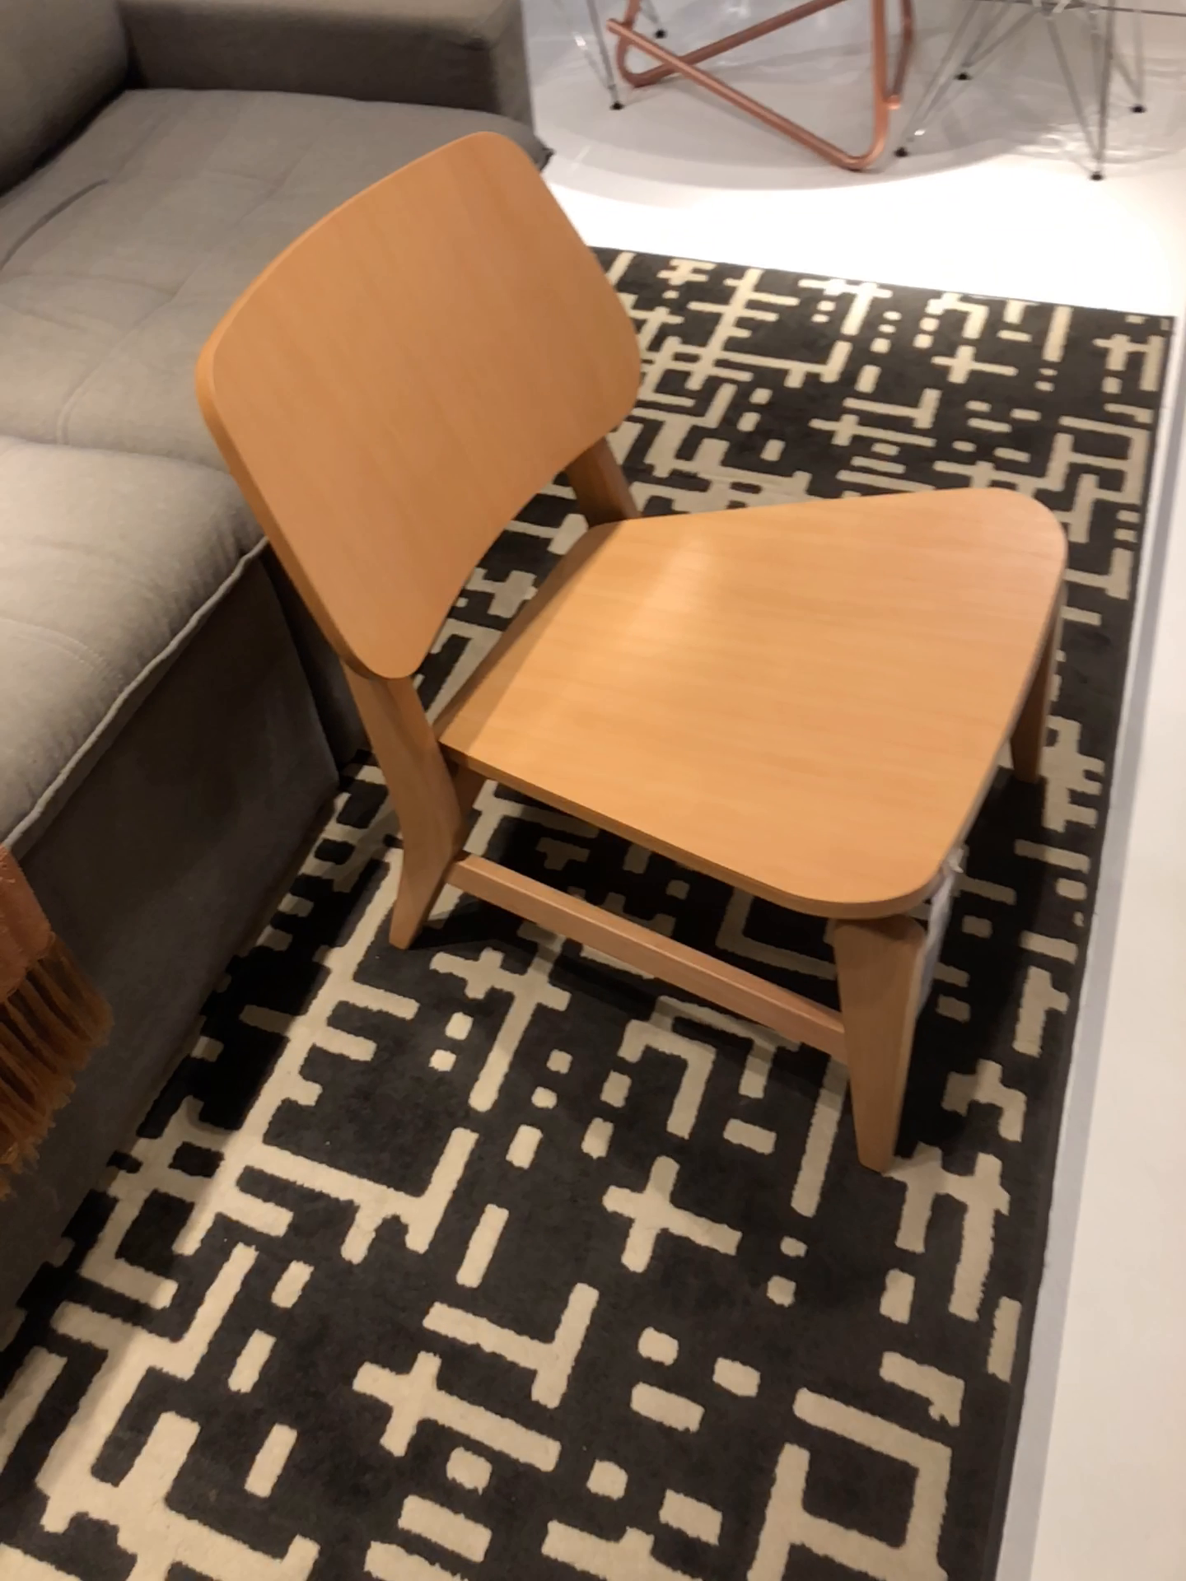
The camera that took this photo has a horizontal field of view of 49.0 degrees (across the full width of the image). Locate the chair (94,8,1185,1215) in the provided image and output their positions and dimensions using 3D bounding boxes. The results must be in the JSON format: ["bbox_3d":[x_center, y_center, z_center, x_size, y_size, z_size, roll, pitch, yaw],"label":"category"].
[{"bbox_3d":[0.142,-0.179,1.117,0.651,0.626,0.644,18,53,19],"label":"chair"}]
